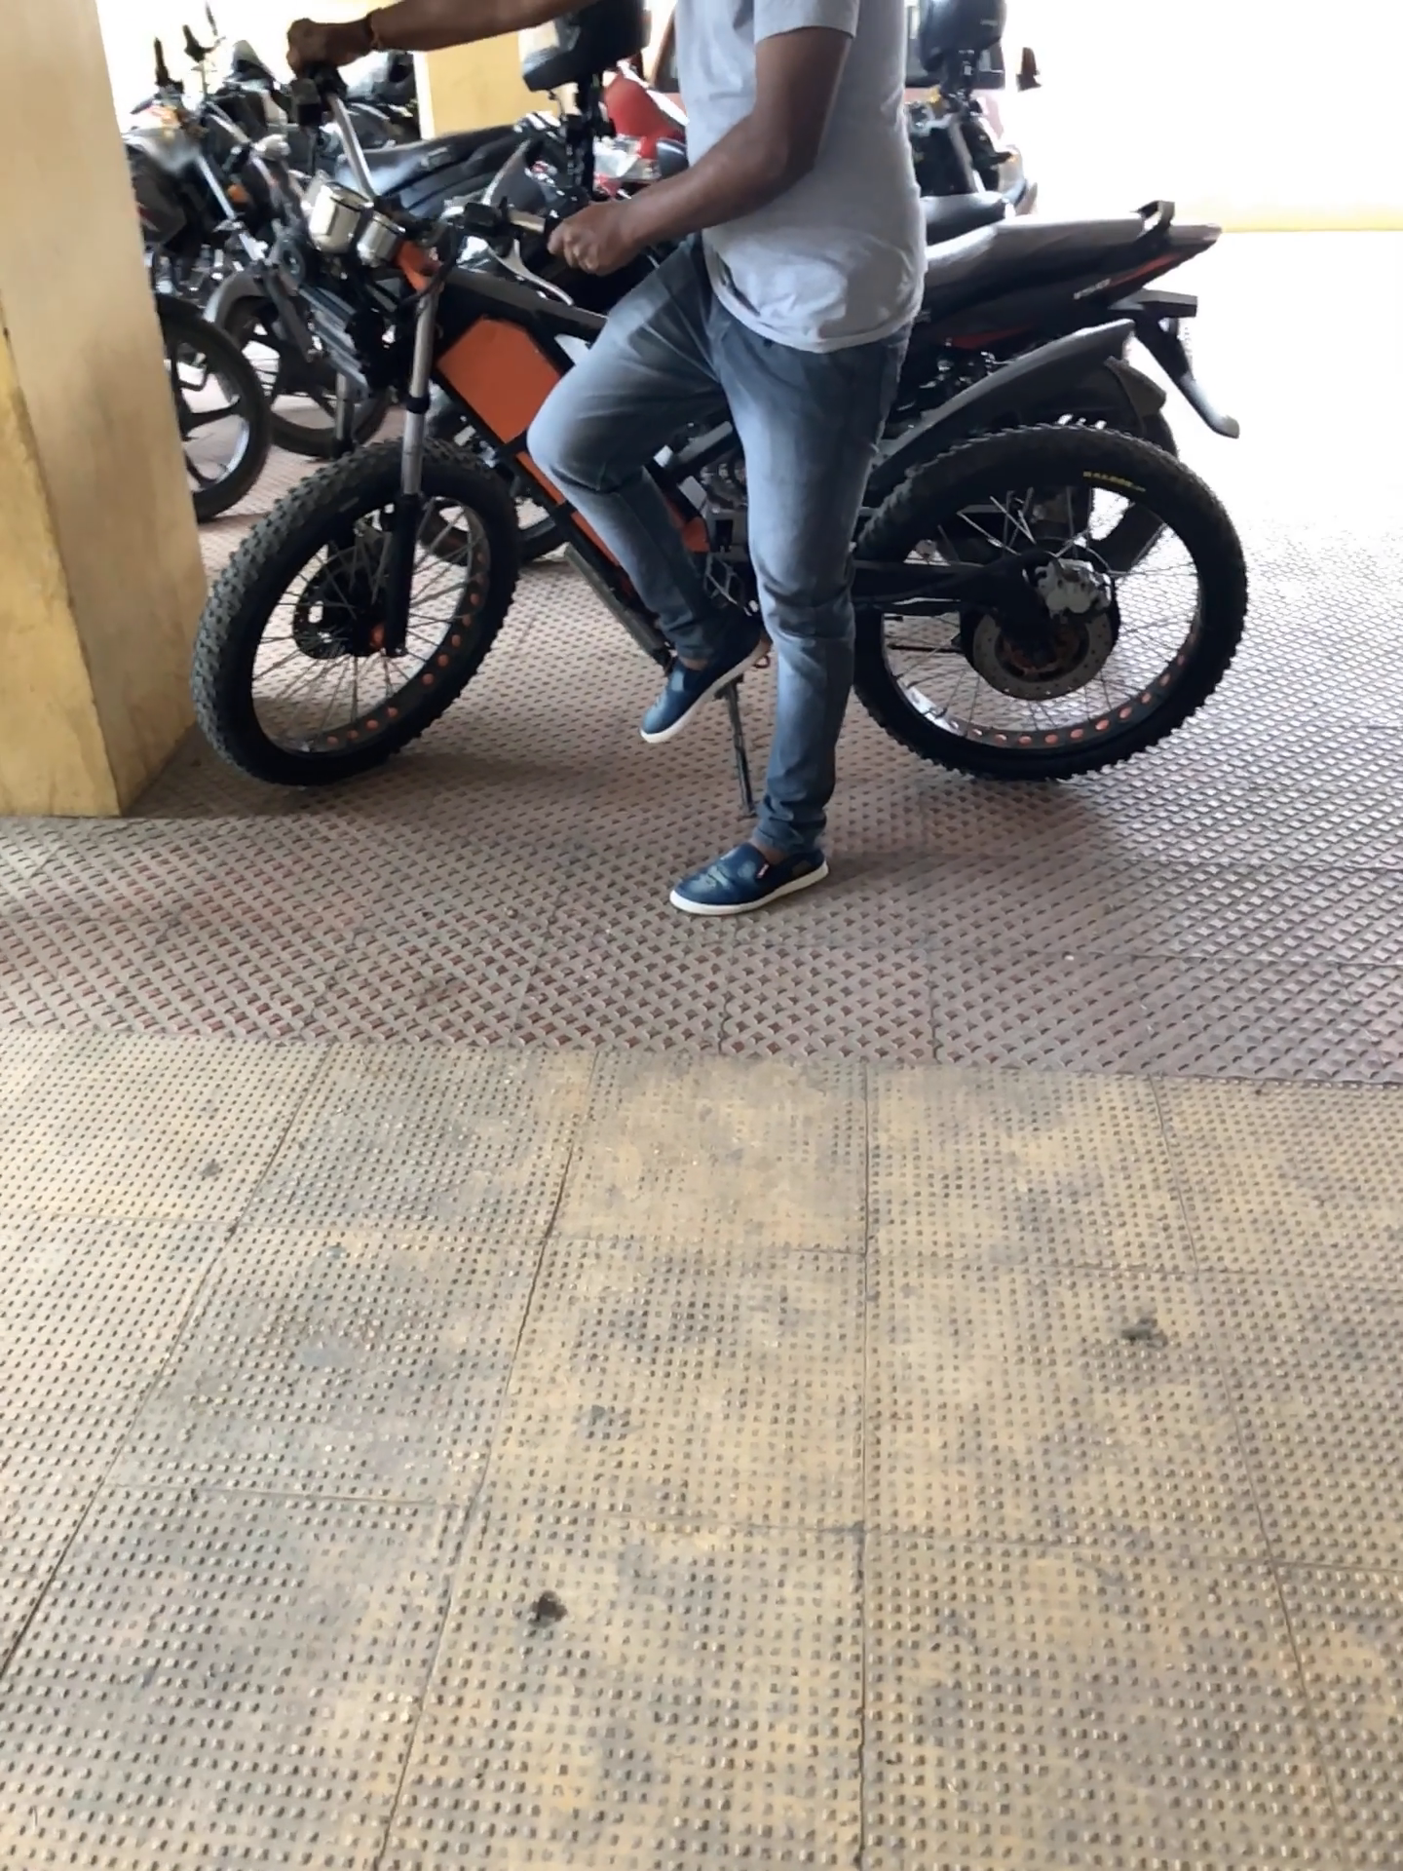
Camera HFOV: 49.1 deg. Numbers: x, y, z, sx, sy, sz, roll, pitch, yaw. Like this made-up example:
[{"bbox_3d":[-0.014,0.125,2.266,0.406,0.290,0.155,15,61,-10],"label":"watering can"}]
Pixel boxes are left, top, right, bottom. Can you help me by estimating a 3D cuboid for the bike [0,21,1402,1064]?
[{"bbox_3d":[0.005,-0.609,2.395,1.746,1.184,0.759,-5,31,2],"label":"bike"}]
